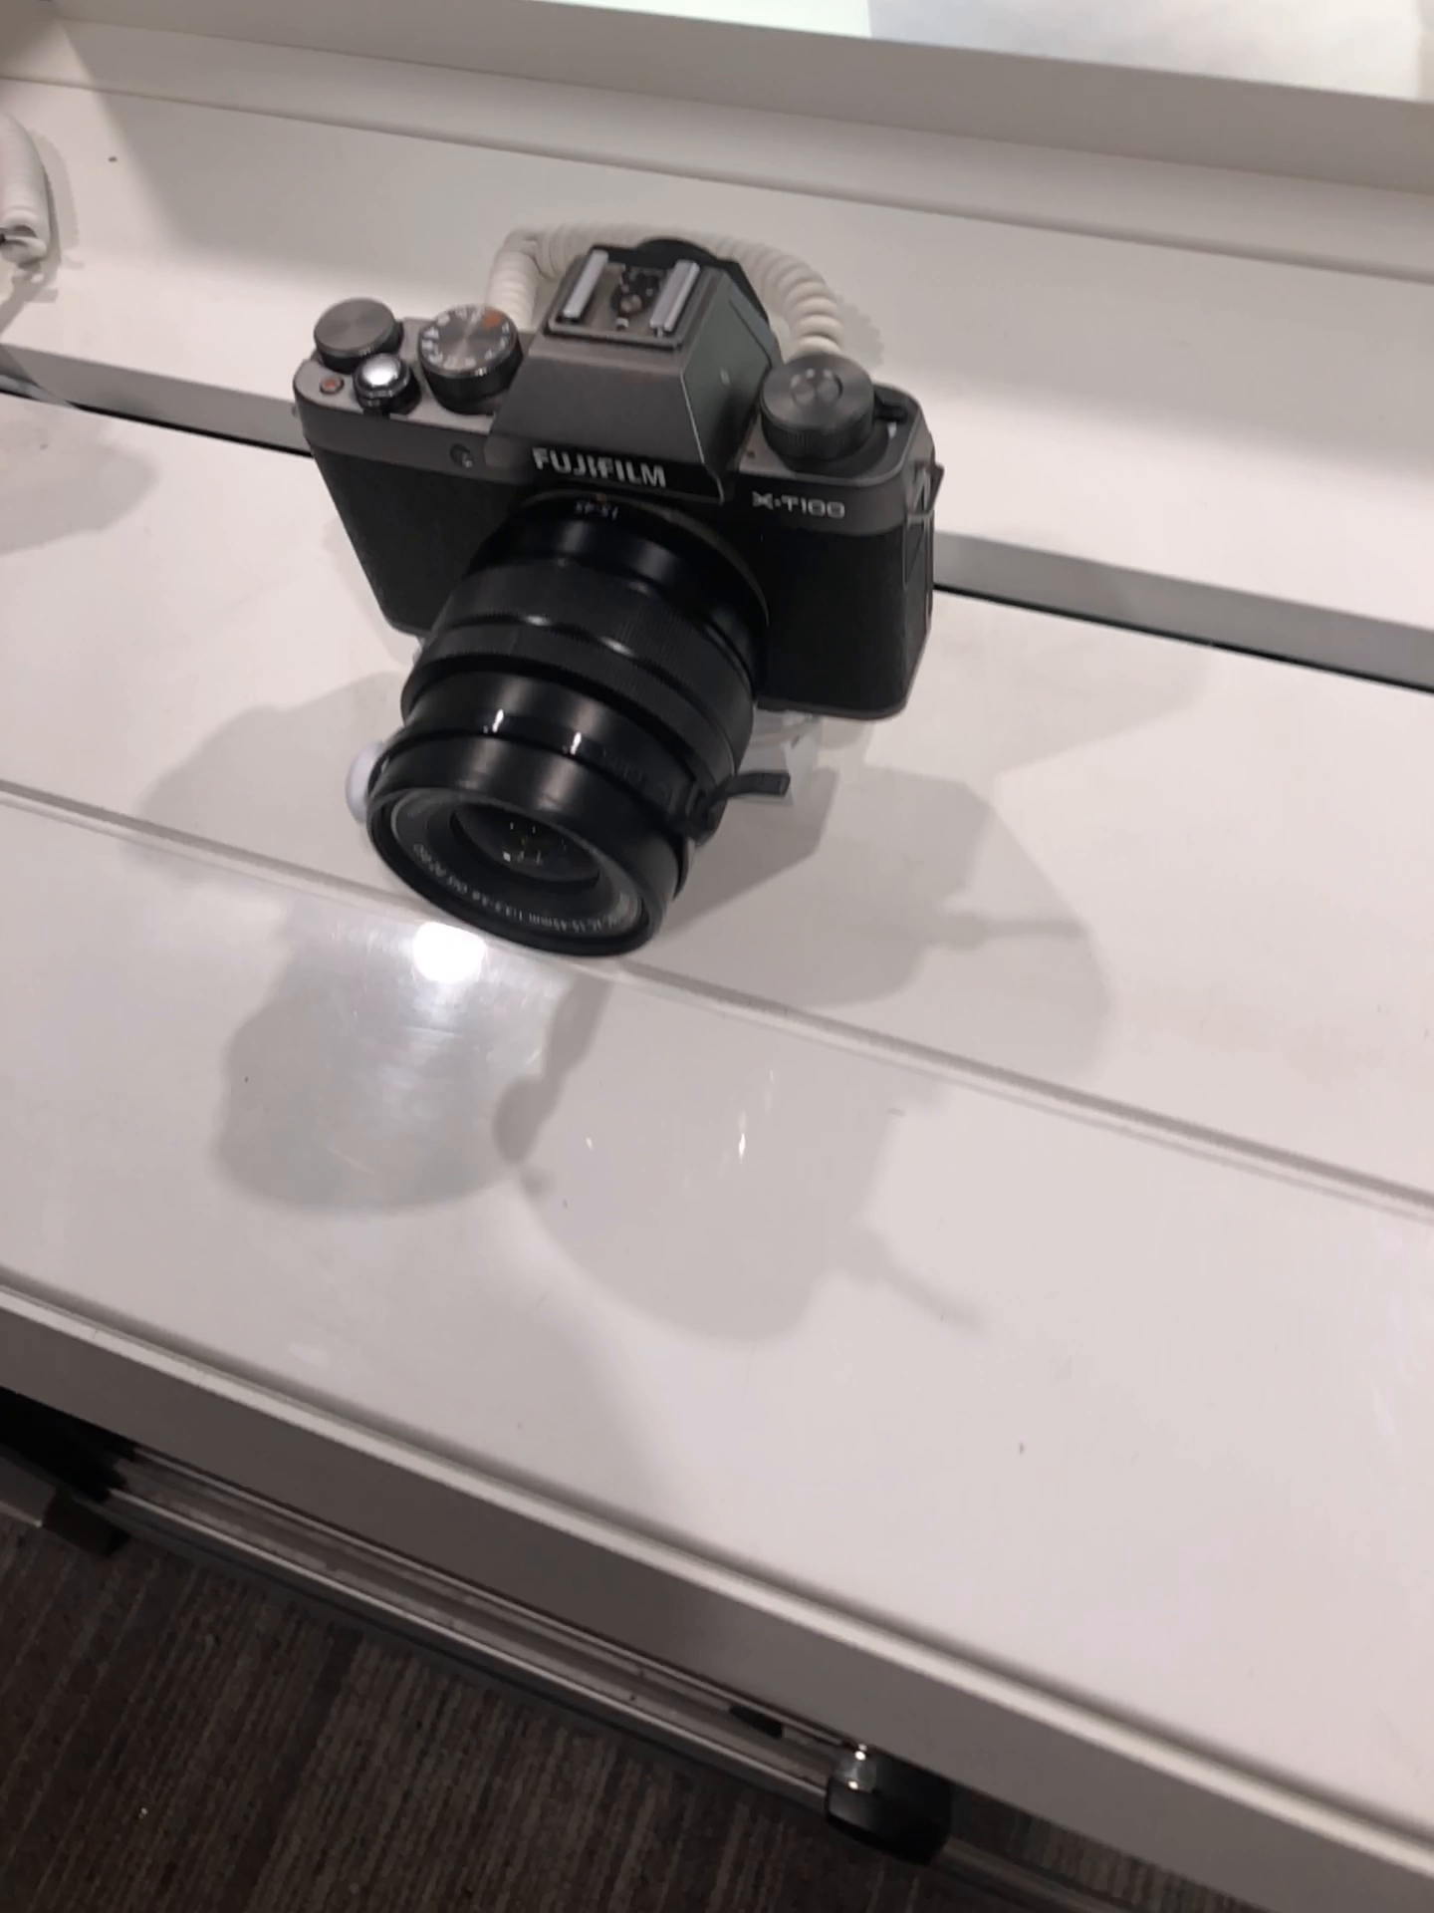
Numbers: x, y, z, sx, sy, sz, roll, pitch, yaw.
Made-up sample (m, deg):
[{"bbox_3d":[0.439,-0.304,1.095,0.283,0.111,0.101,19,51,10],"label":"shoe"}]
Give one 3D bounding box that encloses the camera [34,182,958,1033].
[{"bbox_3d":[-0.031,-0.071,0.317,0.130,0.099,0.107,14,59,16],"label":"camera"}]
